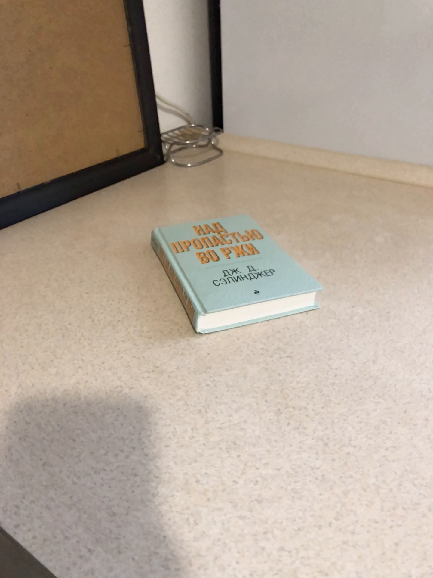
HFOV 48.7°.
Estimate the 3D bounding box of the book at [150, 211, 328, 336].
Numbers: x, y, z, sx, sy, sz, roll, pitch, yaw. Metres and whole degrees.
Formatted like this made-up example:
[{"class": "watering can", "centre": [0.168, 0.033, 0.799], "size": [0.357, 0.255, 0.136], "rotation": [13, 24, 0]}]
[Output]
[{"class": "book", "centre": [0.011, -0.026, 0.462], "size": [0.115, 0.020, 0.176], "rotation": [-12, 33, -15]}]
